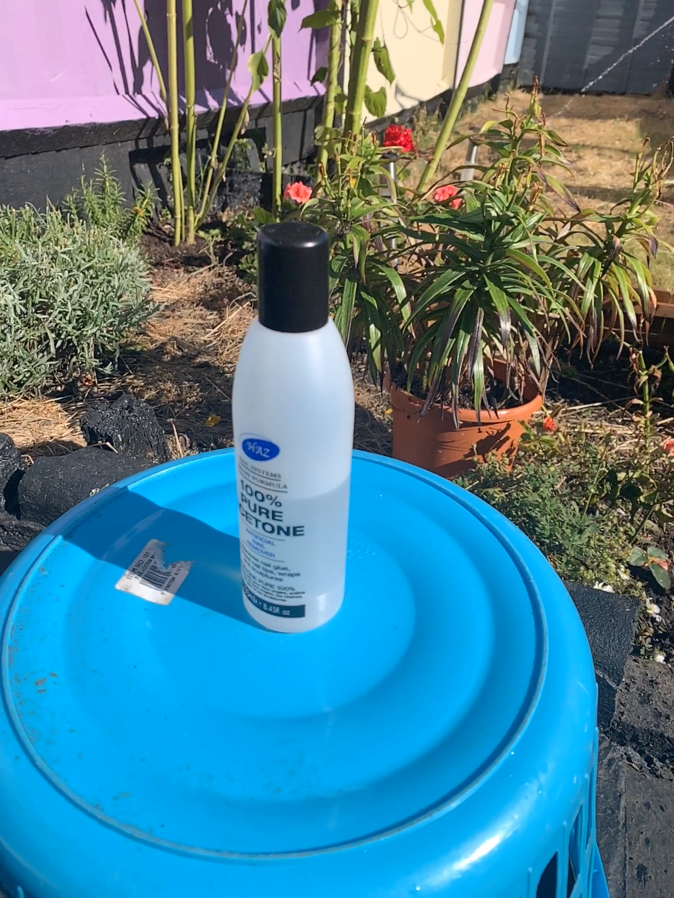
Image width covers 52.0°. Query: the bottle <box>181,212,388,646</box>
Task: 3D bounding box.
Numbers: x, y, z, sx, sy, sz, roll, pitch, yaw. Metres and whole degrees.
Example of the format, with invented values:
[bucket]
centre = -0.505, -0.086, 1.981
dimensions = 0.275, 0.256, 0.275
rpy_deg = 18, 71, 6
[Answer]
[bottle]
centre = -0.021, -0.006, 0.313
dimensions = 0.060, 0.178, 0.060
rpy_deg = 2, 29, -1
